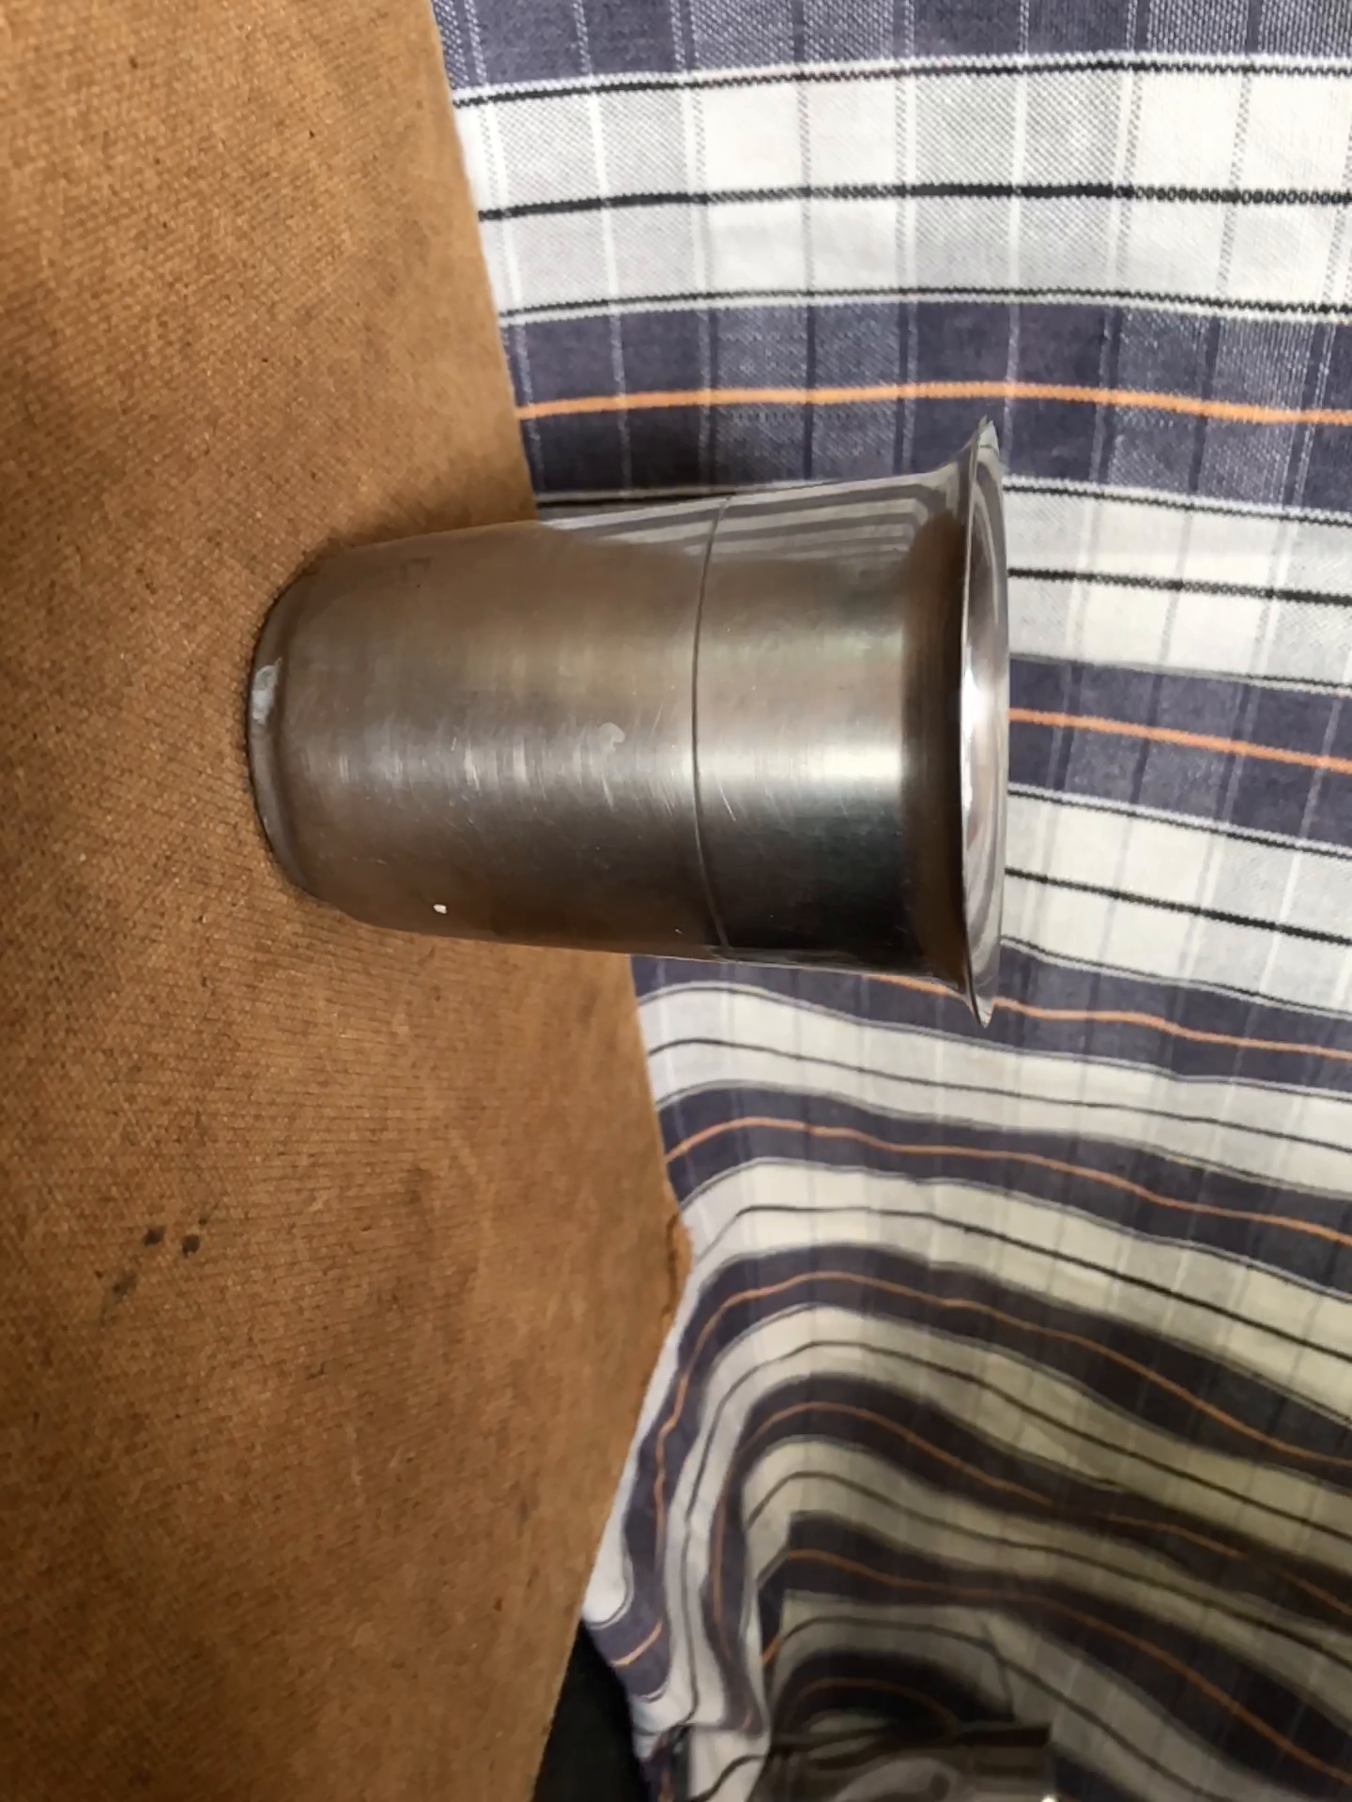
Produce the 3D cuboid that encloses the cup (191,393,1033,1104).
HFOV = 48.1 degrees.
[{"bbox_3d":[0.000,-0.021,0.221,0.080,0.100,0.080,0,90,-76],"label":"cup"}]
